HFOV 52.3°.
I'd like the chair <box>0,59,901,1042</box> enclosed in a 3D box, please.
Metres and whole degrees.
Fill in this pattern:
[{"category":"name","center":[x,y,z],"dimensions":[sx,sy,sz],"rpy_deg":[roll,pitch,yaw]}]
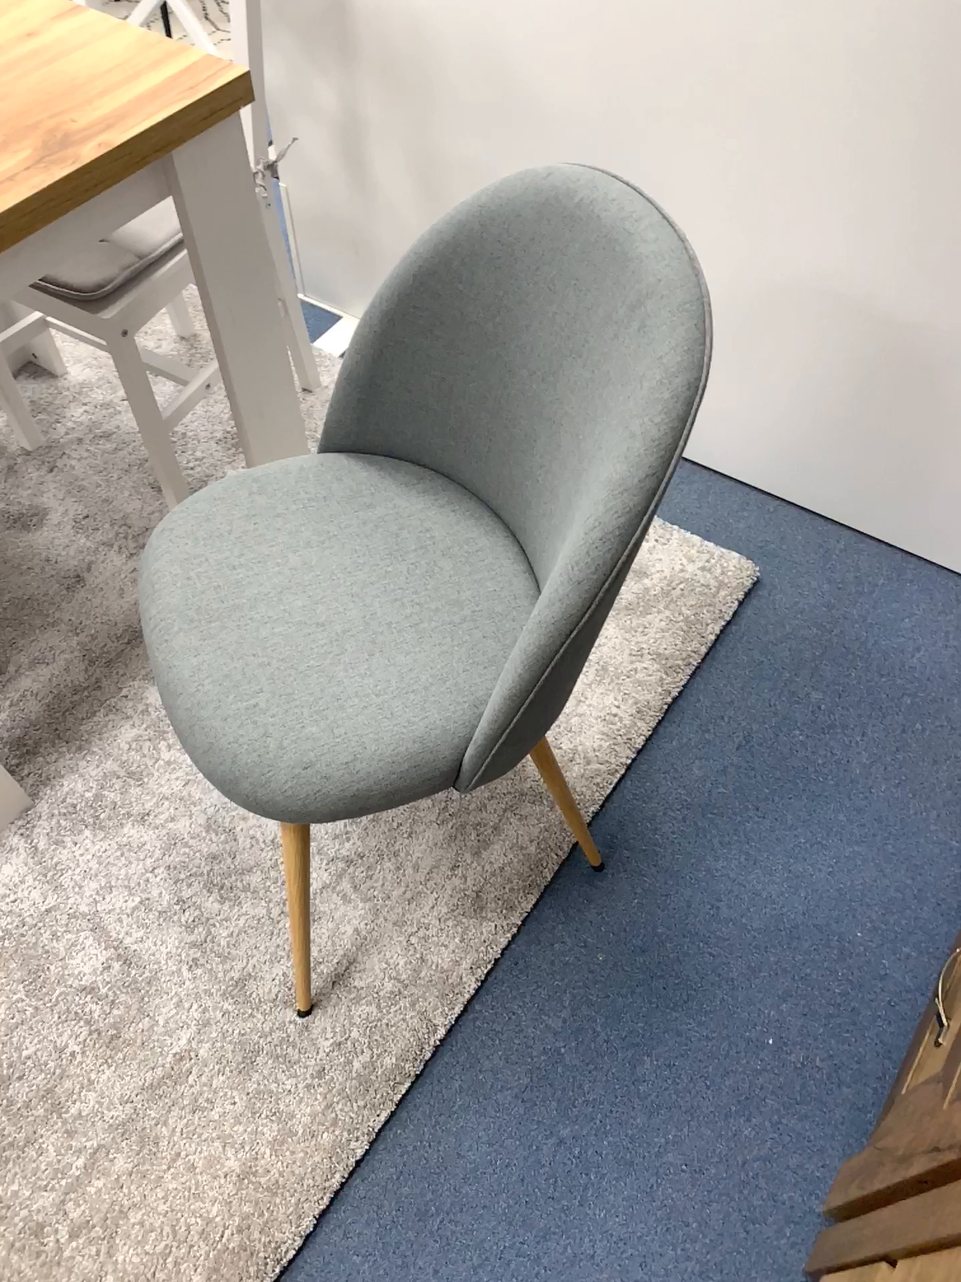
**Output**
[{"category":"chair","center":[-0.086,-0.053,1.034],"dimensions":[0.570,0.738,0.531],"rpy_deg":[-22,57,-15]}]
